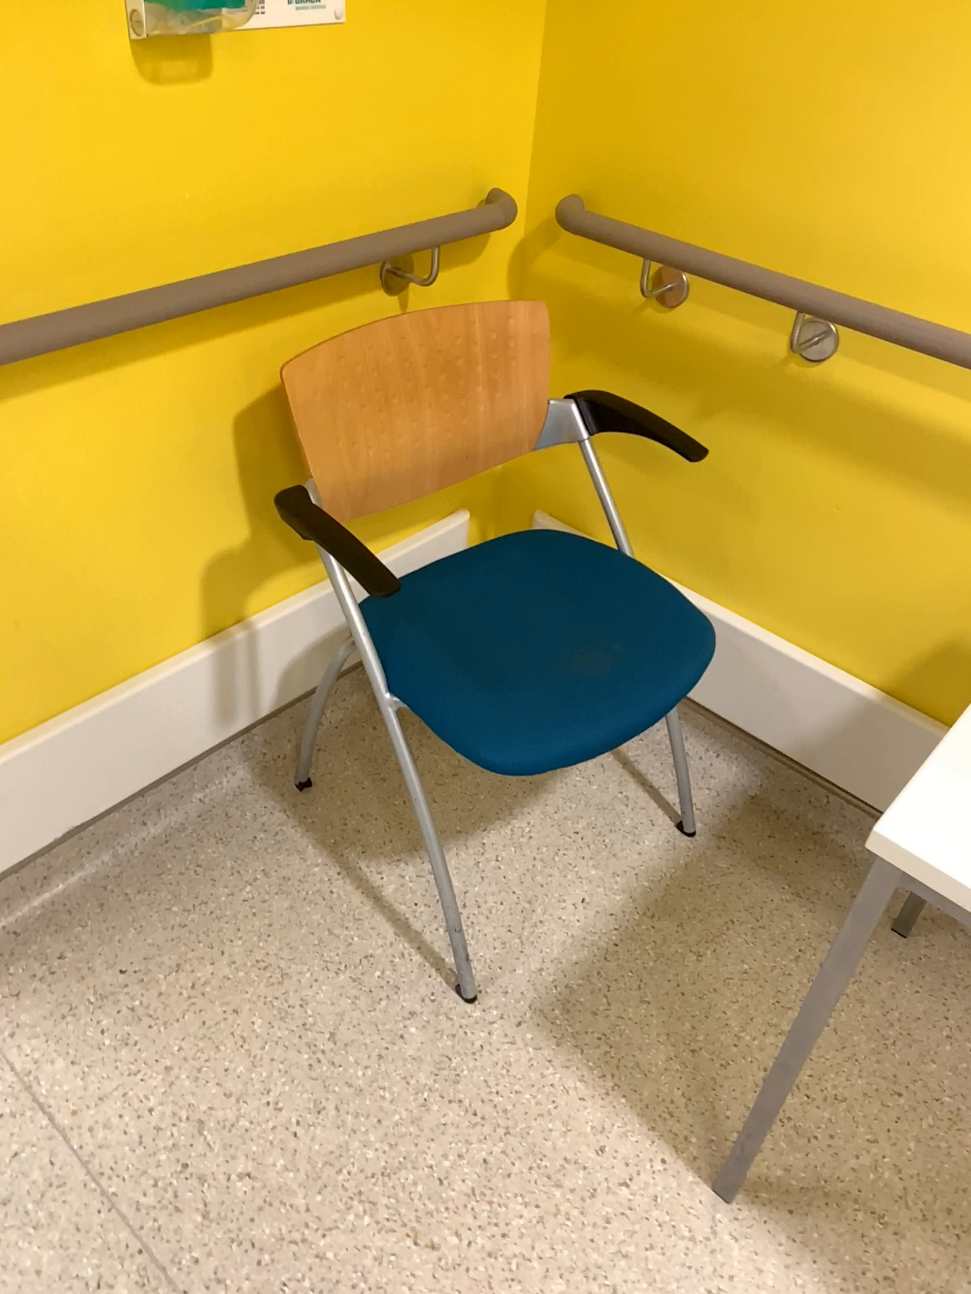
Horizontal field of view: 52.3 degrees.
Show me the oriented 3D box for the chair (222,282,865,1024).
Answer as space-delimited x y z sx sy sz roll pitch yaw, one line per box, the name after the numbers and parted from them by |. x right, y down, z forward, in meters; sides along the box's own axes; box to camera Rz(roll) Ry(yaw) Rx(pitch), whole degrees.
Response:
0.041 -0.023 1.493 0.572 0.779 0.593 -24 46 -32 | chair
